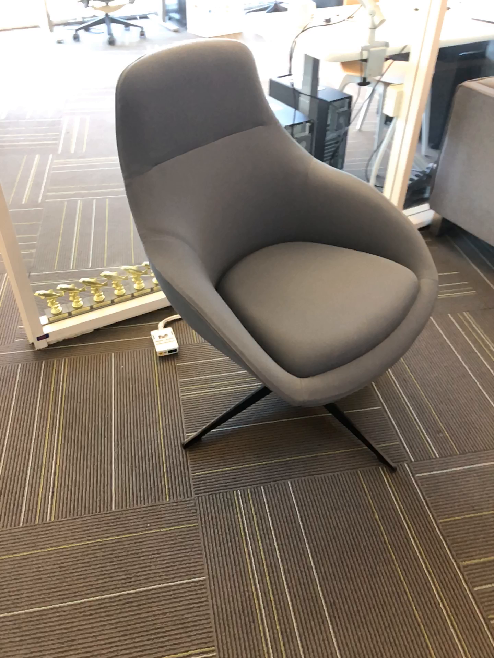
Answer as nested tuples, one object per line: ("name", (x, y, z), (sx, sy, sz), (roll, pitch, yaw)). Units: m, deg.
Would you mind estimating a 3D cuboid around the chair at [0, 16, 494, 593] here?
("chair", (0.115, -0.173, 1.522), (0.963, 0.995, 0.932), (32, 49, 32))
